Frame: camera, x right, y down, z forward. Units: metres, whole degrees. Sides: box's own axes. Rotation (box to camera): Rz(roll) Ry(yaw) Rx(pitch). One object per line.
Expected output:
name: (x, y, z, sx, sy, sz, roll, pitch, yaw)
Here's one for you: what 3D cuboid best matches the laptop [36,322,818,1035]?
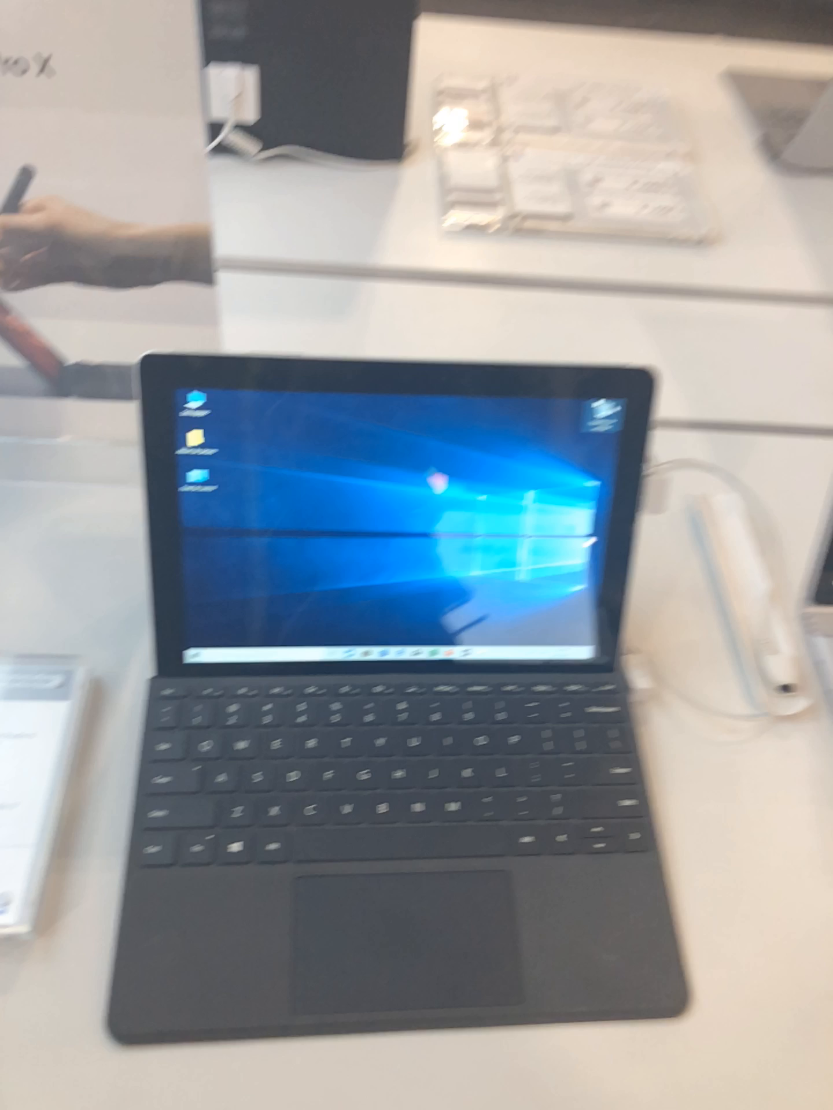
laptop: (-0.007, 0.046, 0.400, 0.236, 0.140, 0.251, 0, 53, -8)
